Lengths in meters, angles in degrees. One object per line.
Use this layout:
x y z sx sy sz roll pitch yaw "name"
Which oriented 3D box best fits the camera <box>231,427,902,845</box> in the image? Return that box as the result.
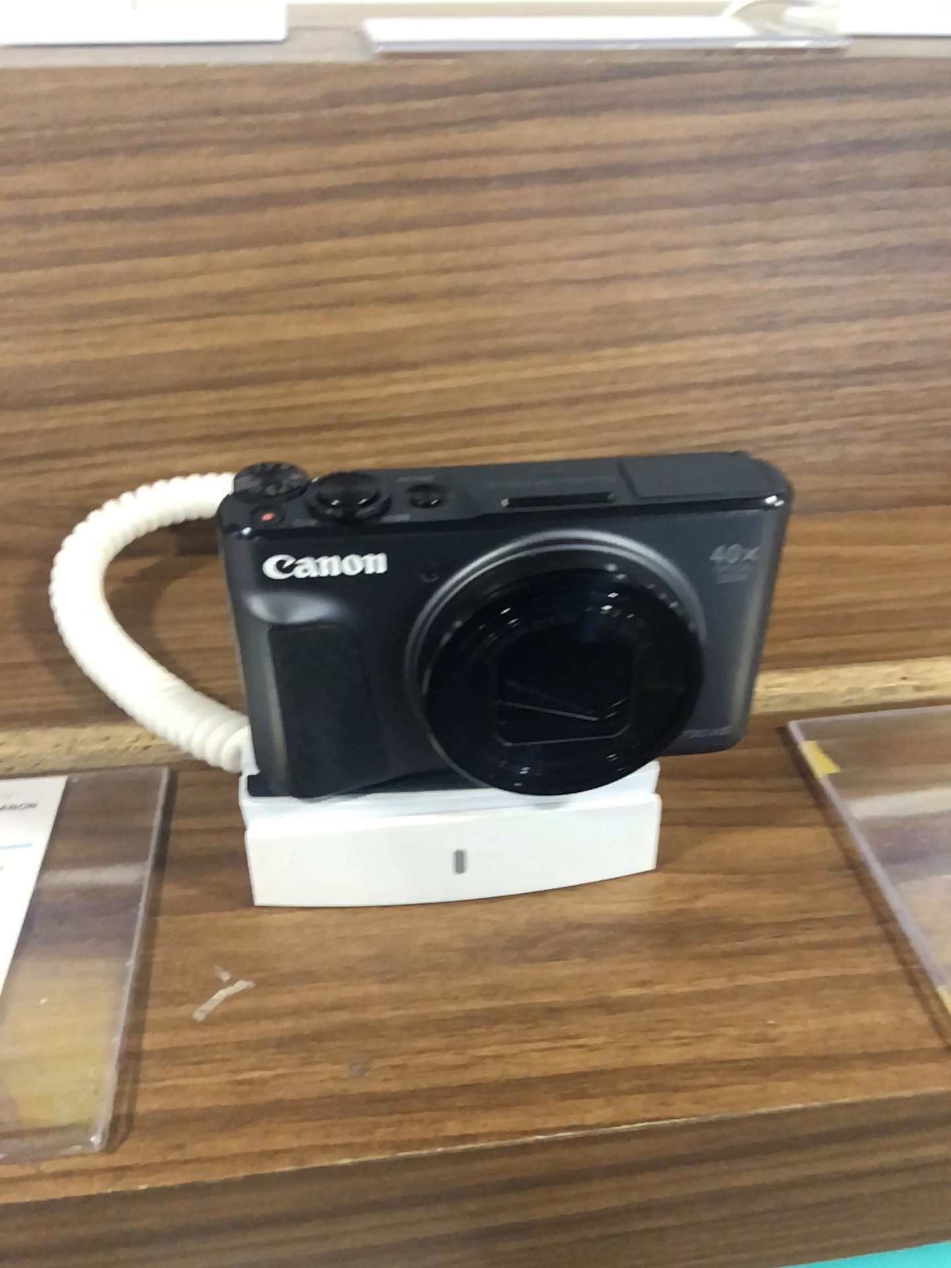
0.014 0.000 0.203 0.109 0.063 0.037 -4 36 -6 "camera"
